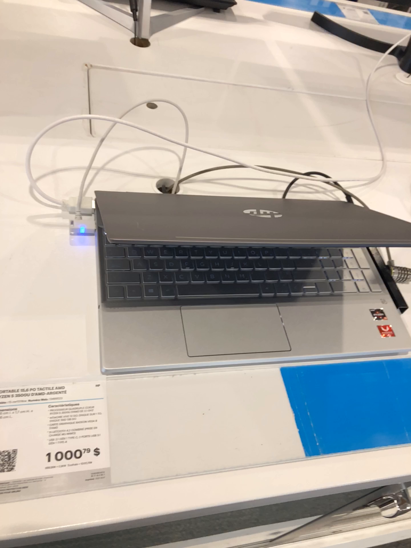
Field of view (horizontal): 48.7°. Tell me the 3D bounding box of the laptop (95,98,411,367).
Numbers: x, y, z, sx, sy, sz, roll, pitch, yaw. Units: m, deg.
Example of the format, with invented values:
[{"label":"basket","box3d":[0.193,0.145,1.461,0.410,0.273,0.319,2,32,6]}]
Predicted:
[{"label":"laptop","box3d":[0.066,-0.046,0.490,0.350,0.134,0.231,0,53,-16]}]
